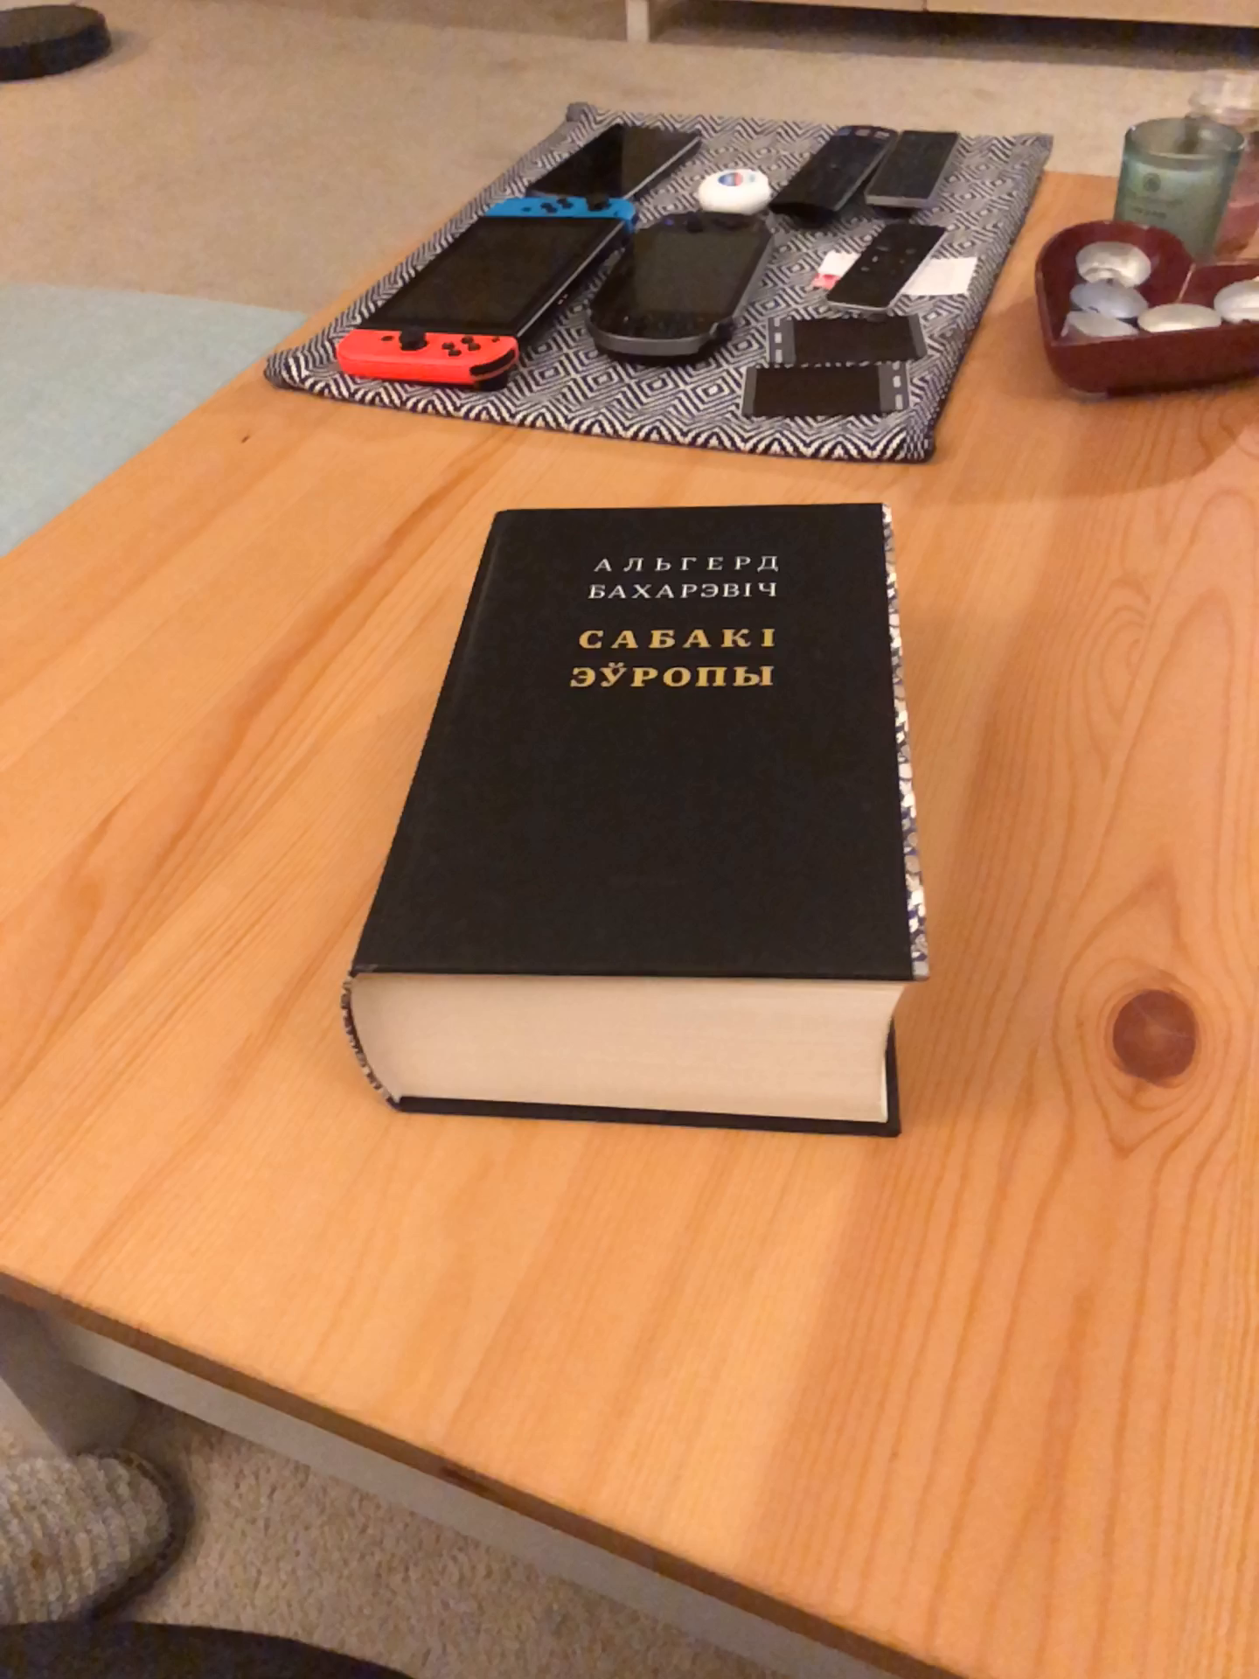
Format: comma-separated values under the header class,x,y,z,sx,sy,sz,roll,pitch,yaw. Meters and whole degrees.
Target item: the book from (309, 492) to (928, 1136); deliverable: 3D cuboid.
class,x,y,z,sx,sy,sz,roll,pitch,yaw
book,0.008,-0.022,0.451,0.157,0.061,0.230,0,45,7
